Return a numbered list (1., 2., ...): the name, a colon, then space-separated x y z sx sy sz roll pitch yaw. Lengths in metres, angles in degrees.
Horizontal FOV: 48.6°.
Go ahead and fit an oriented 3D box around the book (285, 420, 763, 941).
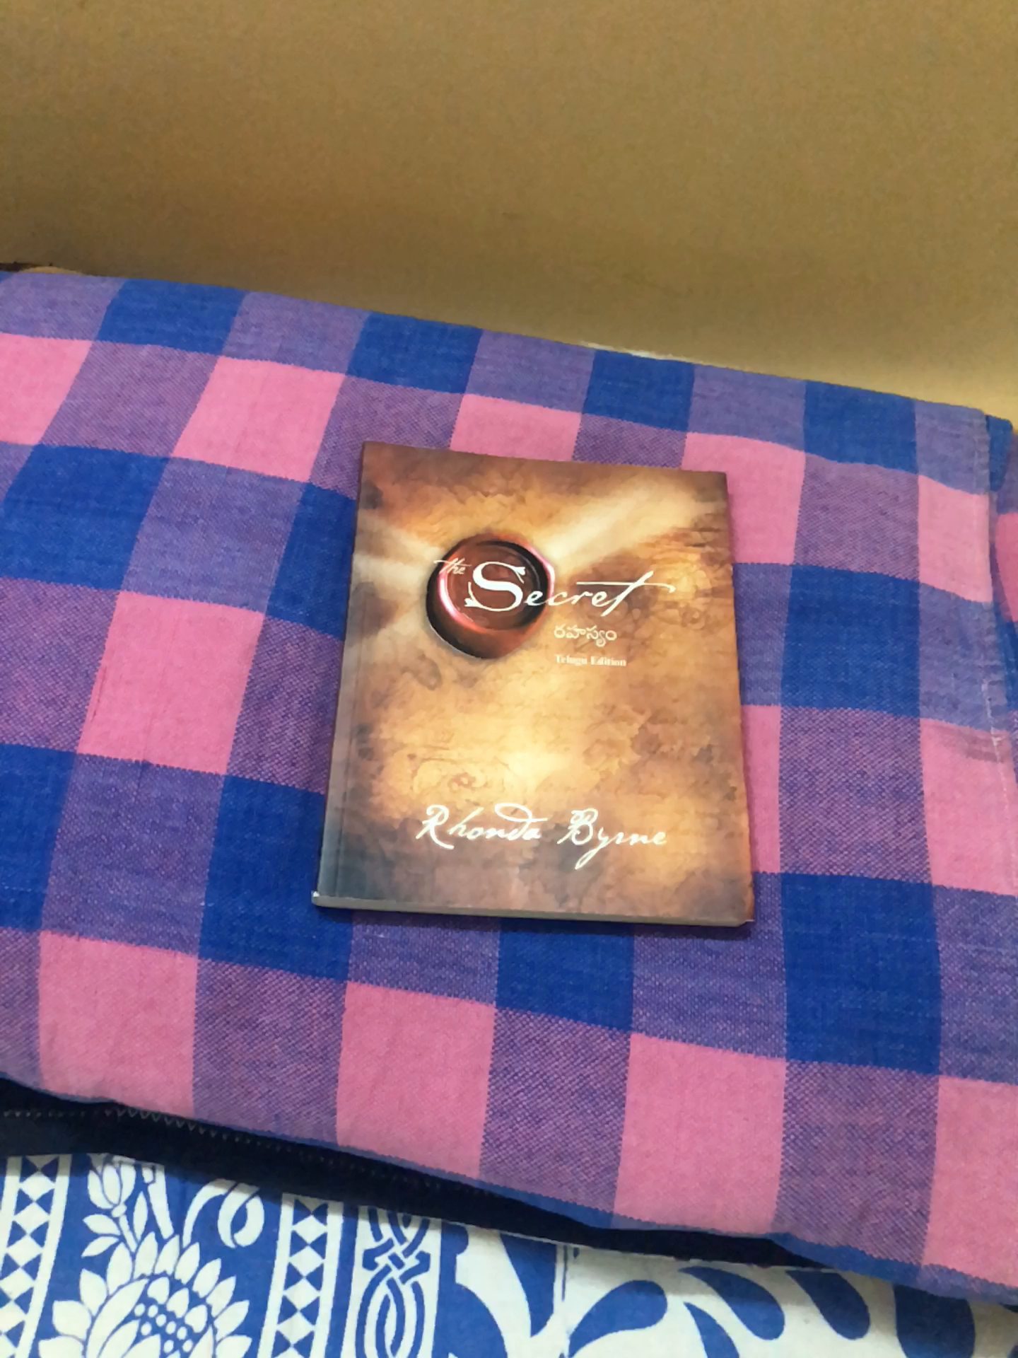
1. book: 0.009 -0.007 0.405 0.150 0.020 0.190 3 63 1
